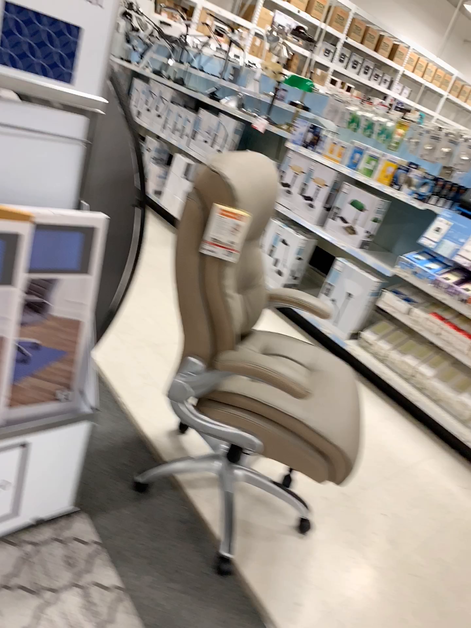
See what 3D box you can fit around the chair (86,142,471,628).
[{"bbox_3d":[0.137,0.162,1.524,0.720,1.144,0.714,23,24,6],"label":"chair"}]
